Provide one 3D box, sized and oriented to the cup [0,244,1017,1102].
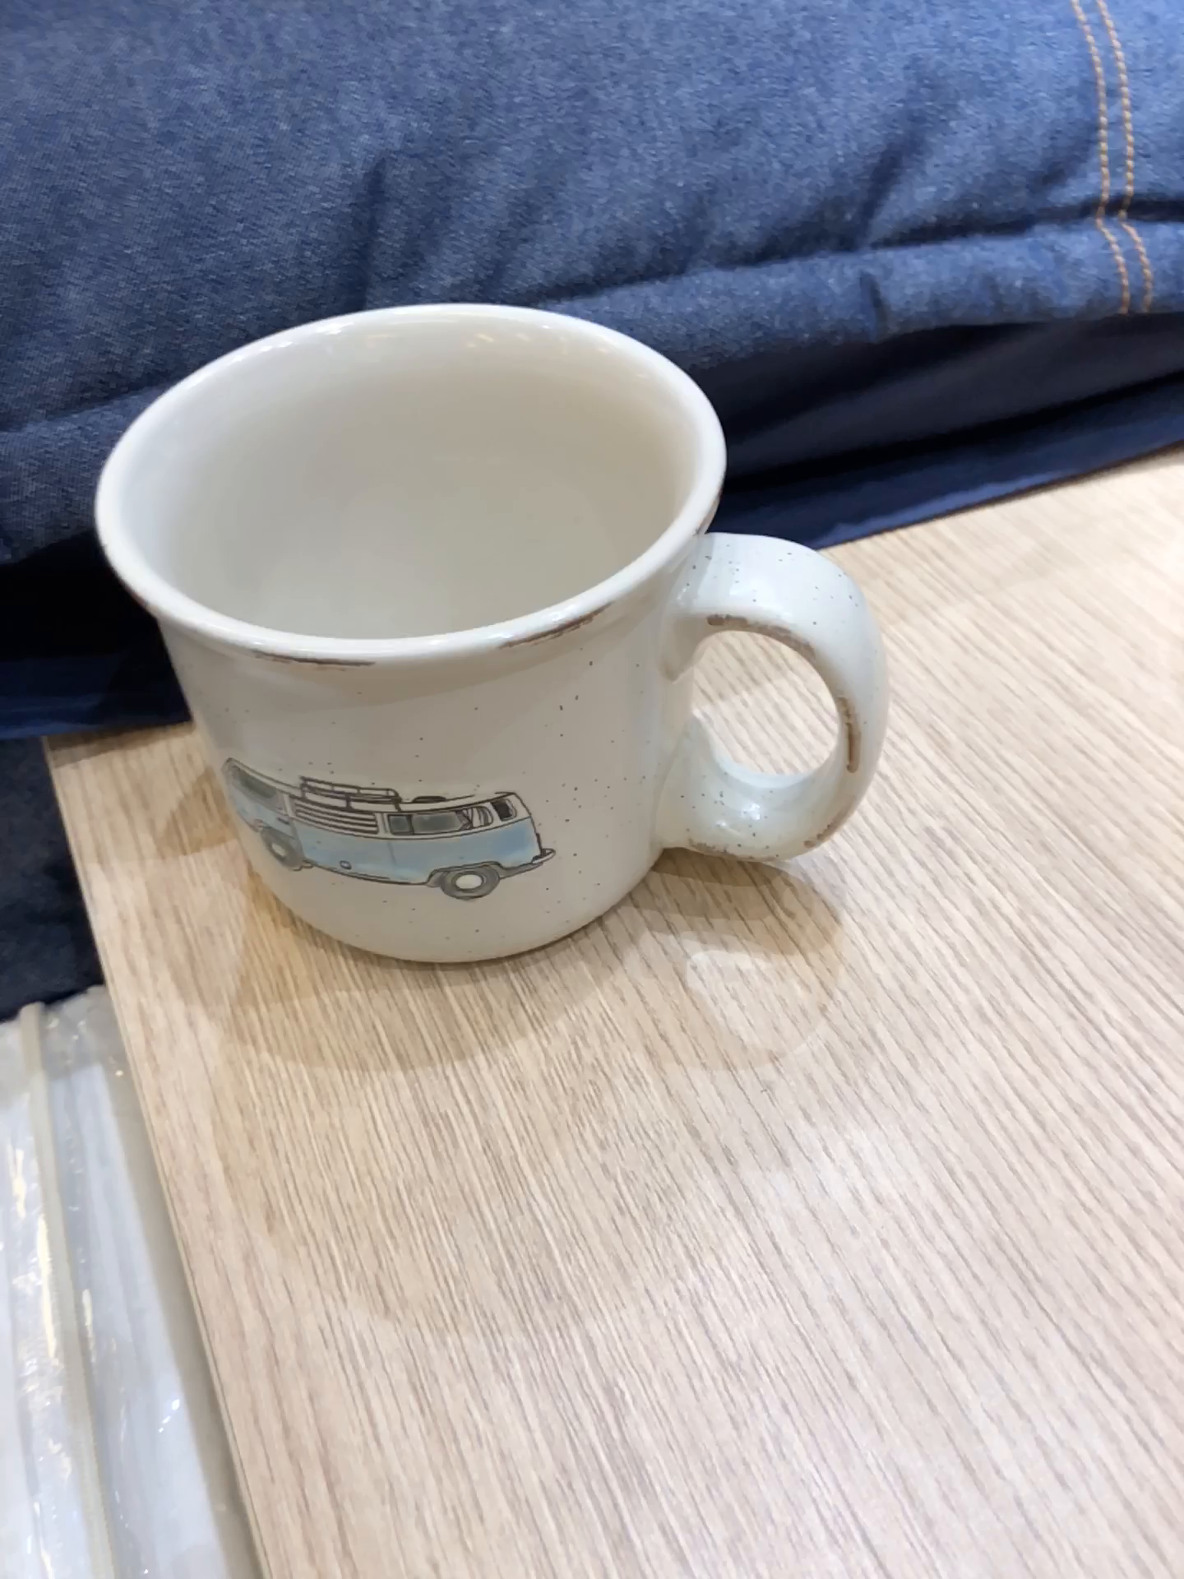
[{"bbox_3d":[-0.008,-0.026,0.239,0.140,0.089,0.101,11,48,13],"label":"cup"}]
